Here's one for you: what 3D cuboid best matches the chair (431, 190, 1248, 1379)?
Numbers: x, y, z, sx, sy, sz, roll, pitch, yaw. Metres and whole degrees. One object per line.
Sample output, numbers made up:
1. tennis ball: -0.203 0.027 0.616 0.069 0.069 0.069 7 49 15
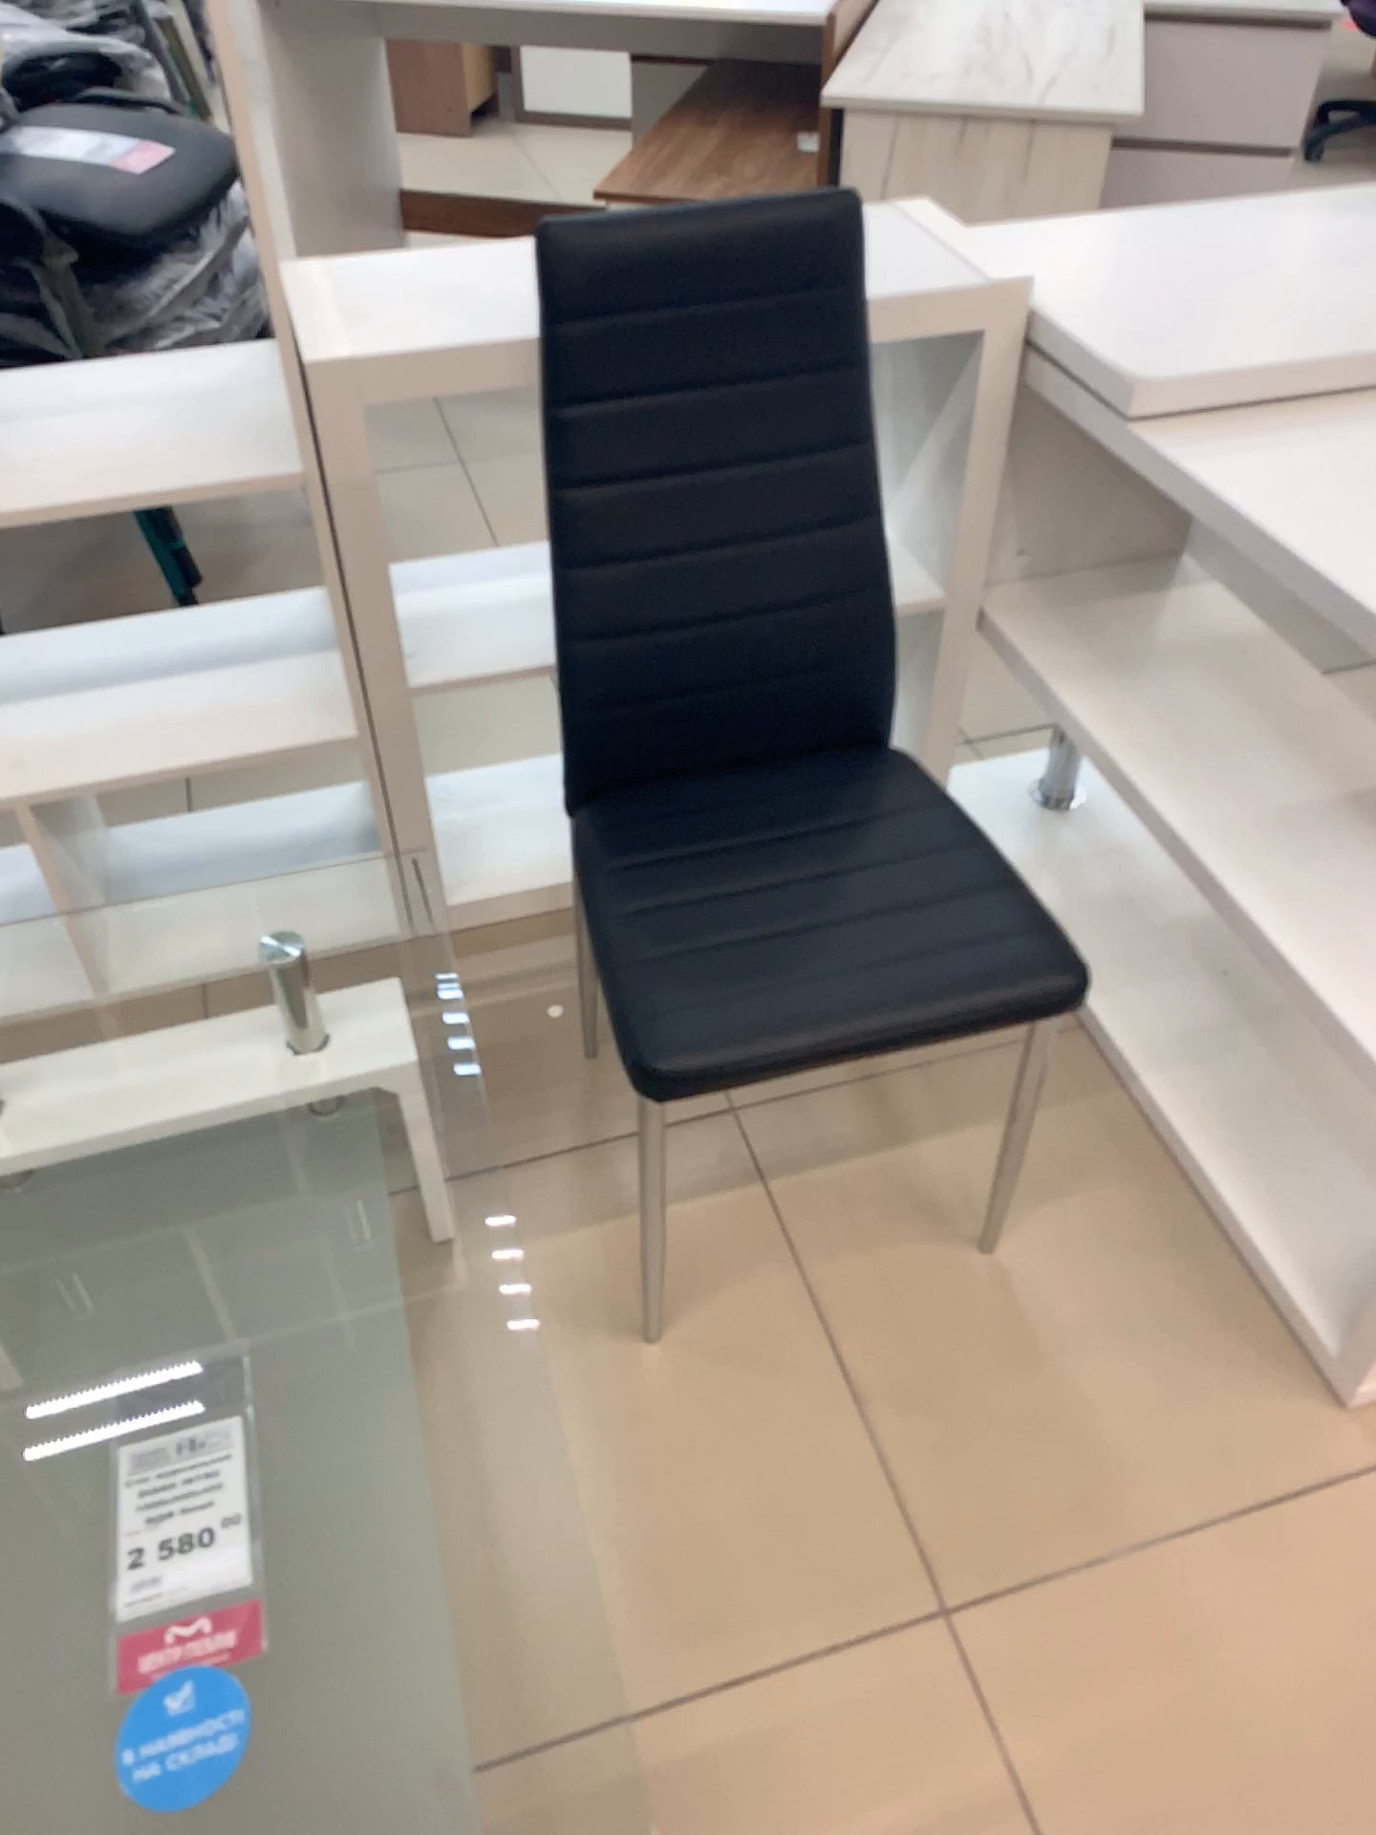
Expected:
1. chair: 0.070 -0.109 1.350 0.440 0.916 0.603 -11 43 -10
